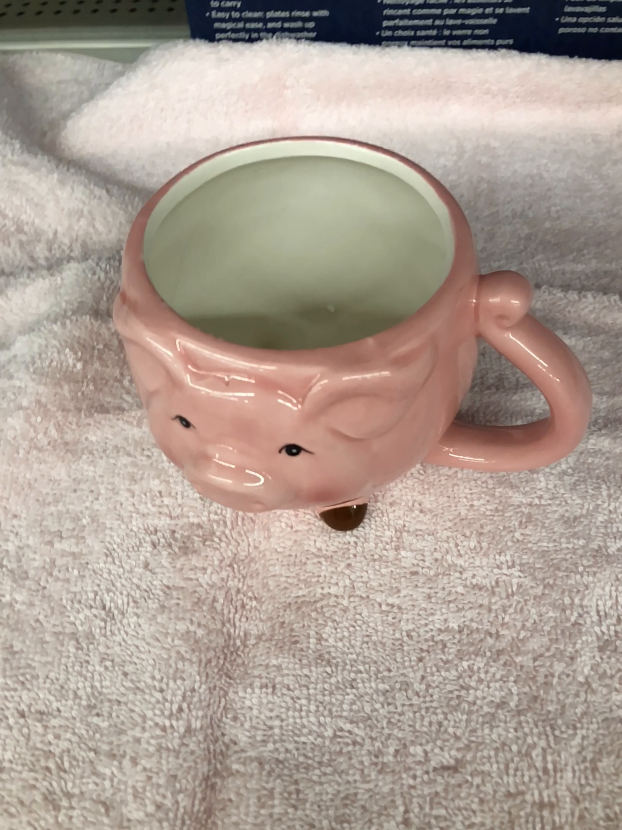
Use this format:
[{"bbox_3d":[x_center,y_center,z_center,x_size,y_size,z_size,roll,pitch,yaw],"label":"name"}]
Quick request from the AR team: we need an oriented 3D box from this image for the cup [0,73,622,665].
[{"bbox_3d":[0.016,-0.015,0.199,0.150,0.090,0.100,17,59,13],"label":"cup"}]
